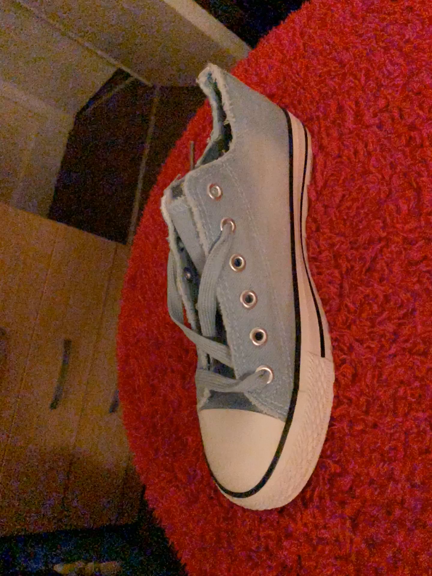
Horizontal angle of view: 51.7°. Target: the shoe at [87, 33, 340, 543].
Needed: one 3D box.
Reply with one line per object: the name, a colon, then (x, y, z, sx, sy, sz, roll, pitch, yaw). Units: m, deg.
shoe: (0.005, -0.003, 0.268, 0.098, 0.086, 0.250, -16, 63, 46)
